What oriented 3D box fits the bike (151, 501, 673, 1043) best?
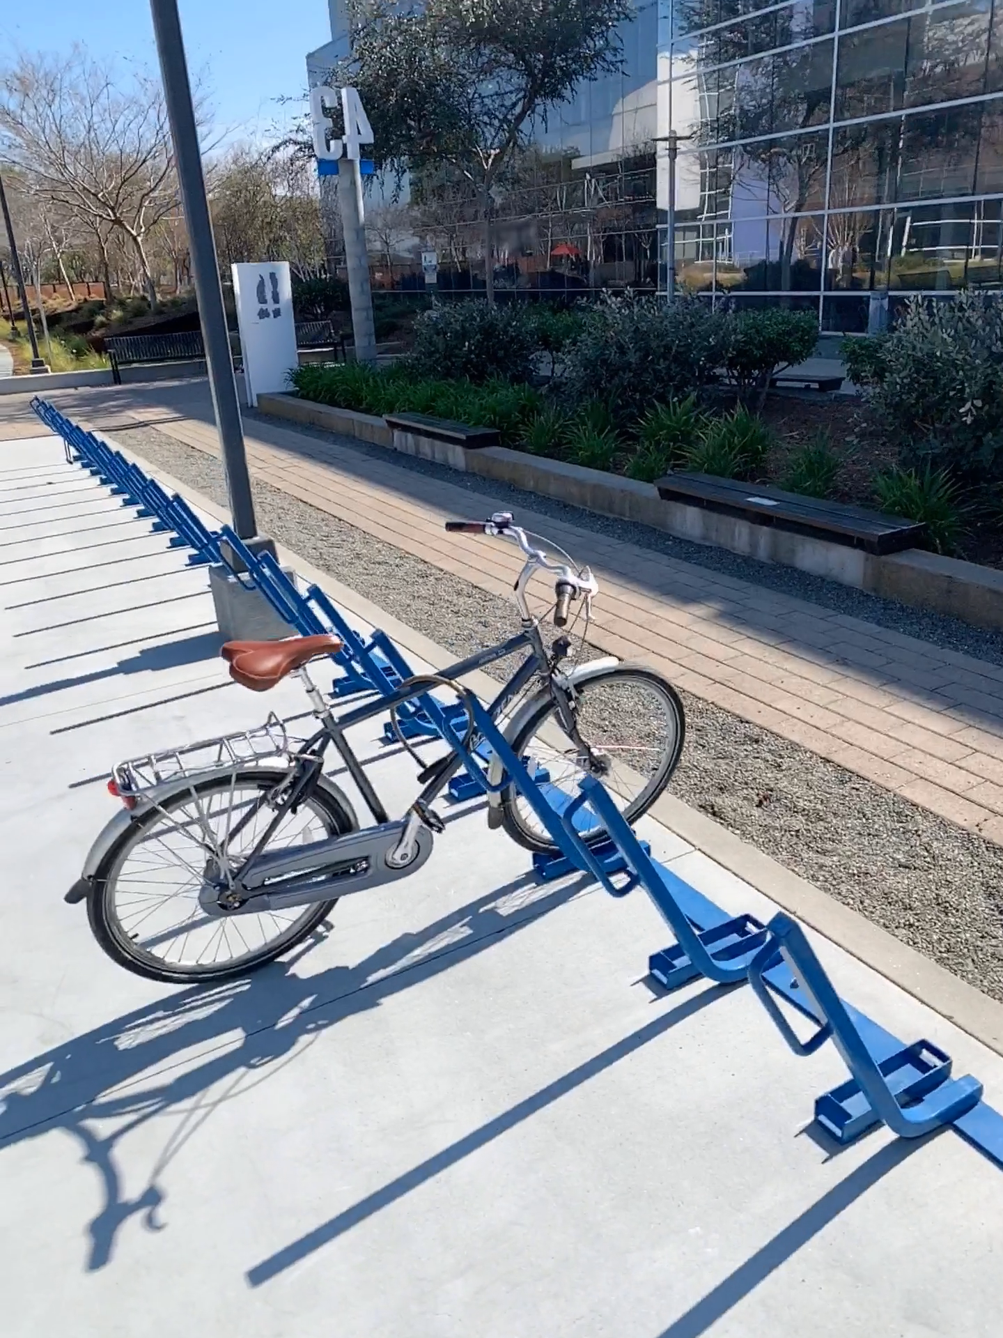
[{"bbox_3d":[-0.192,0.176,2.495,1.060,0.915,0.594,-13,24,-23],"label":"bike"}]
